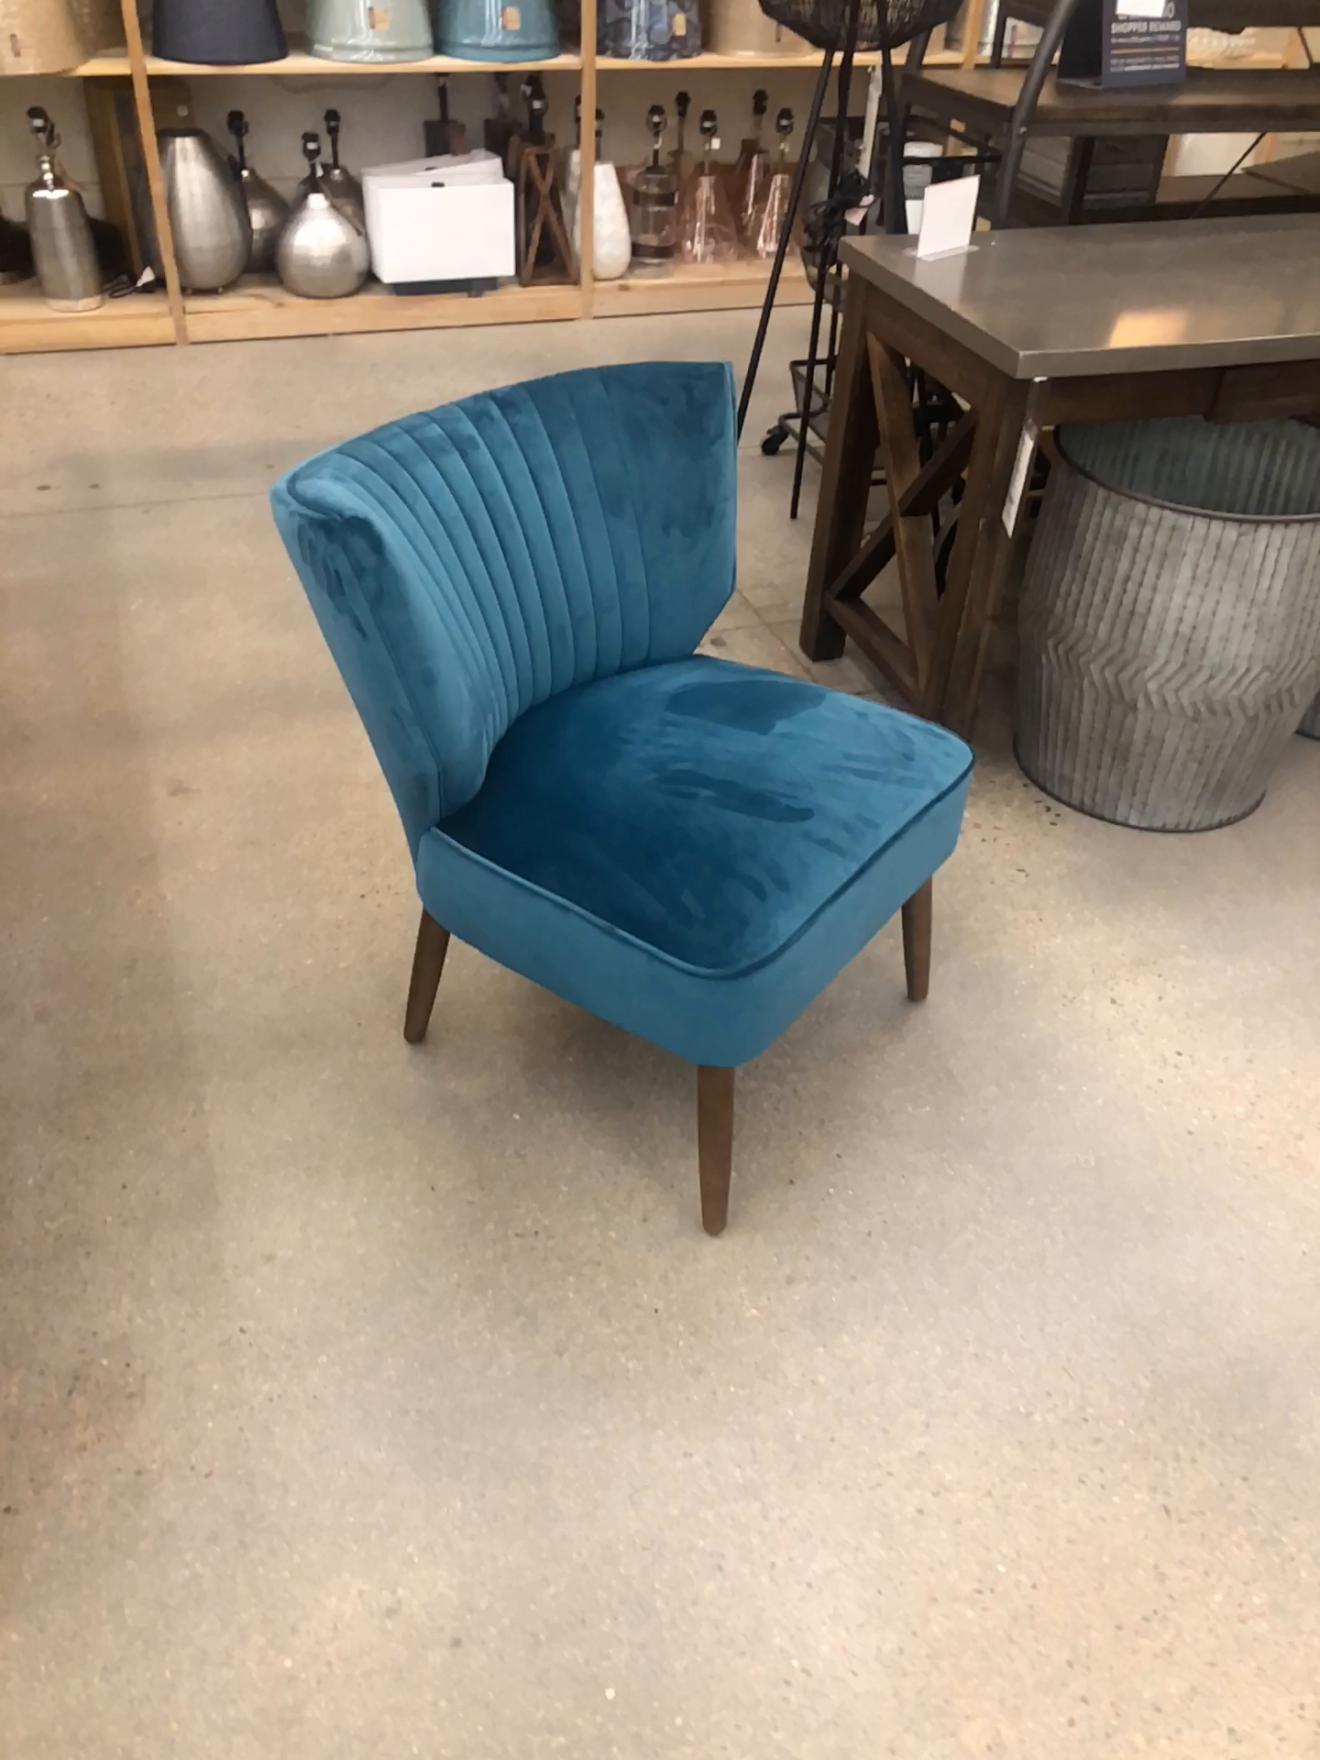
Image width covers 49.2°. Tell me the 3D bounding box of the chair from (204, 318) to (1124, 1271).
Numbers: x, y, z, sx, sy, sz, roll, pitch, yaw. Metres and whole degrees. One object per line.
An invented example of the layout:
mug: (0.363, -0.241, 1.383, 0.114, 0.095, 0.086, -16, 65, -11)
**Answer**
chair: (0.016, -0.151, 1.642, 0.661, 0.676, 0.663, 24, 42, 26)
